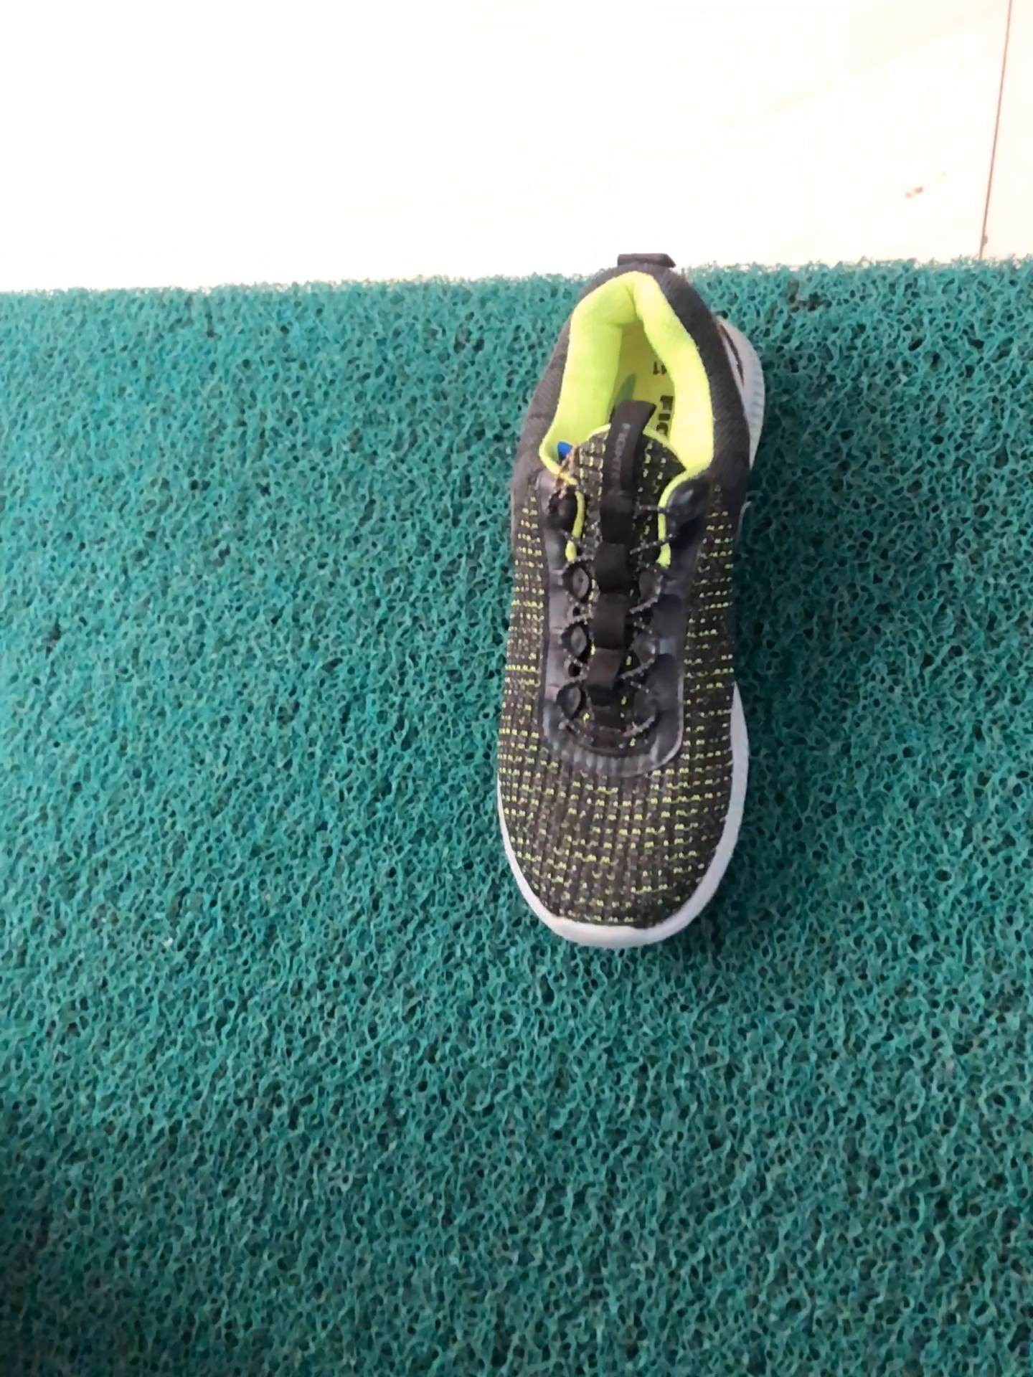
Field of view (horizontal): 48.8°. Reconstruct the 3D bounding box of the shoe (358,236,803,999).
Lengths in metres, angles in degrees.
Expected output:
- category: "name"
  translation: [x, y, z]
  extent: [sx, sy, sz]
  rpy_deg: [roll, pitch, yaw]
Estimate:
- category: "shoe"
  translation: [0.036, -0.030, 0.443]
  extent: [0.110, 0.090, 0.270]
  rpy_deg: [4, 72, 21]
